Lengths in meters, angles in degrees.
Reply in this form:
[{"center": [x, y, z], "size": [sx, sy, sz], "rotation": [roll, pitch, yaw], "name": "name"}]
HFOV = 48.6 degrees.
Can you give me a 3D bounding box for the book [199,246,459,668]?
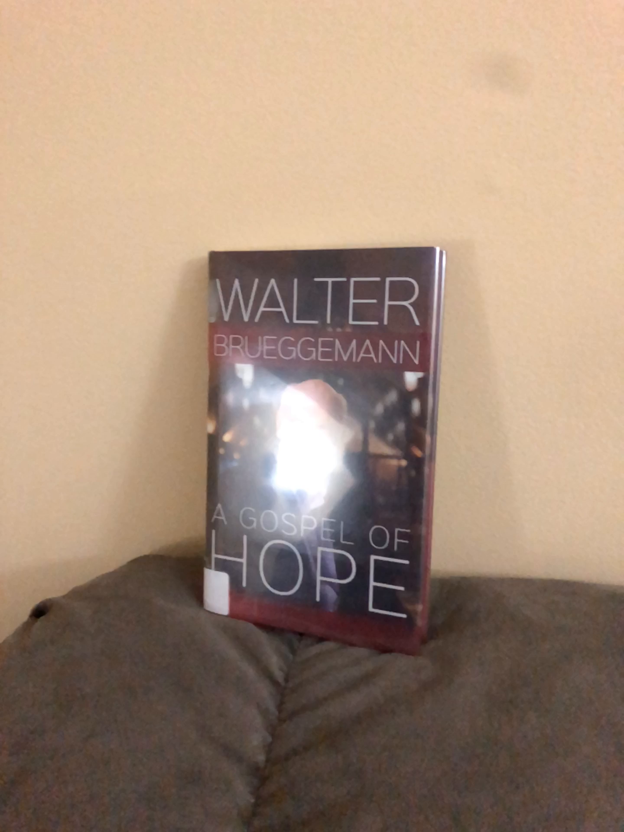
[{"center": [0.005, 0.018, 0.385], "size": [0.141, 0.210, 0.027], "rotation": [3, 4, 26], "name": "book"}]
